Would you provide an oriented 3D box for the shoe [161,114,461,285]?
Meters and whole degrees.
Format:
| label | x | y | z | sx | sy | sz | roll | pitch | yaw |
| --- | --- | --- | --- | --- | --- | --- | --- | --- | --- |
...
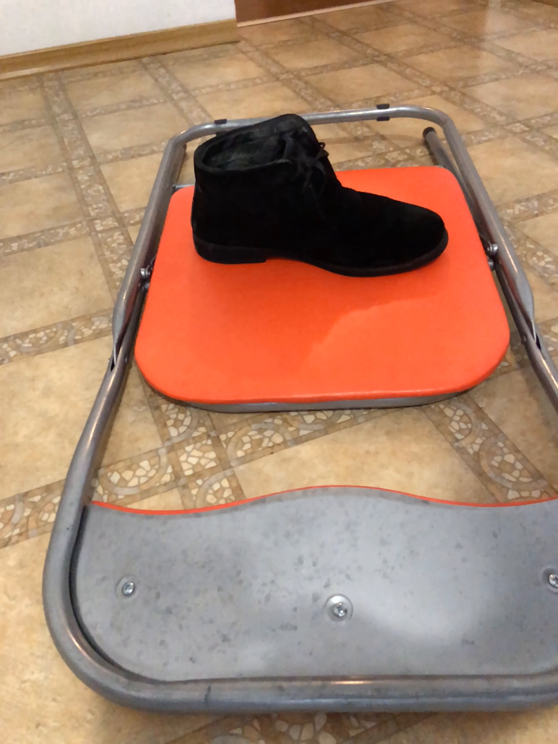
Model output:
| label | x | y | z | sx | sy | sz | roll | pitch | yaw |
| --- | --- | --- | --- | --- | --- | --- | --- | --- | --- |
| shoe | 0.036 | -0.180 | 0.633 | 0.270 | 0.129 | 0.111 | 3 | 43 | 8 |
